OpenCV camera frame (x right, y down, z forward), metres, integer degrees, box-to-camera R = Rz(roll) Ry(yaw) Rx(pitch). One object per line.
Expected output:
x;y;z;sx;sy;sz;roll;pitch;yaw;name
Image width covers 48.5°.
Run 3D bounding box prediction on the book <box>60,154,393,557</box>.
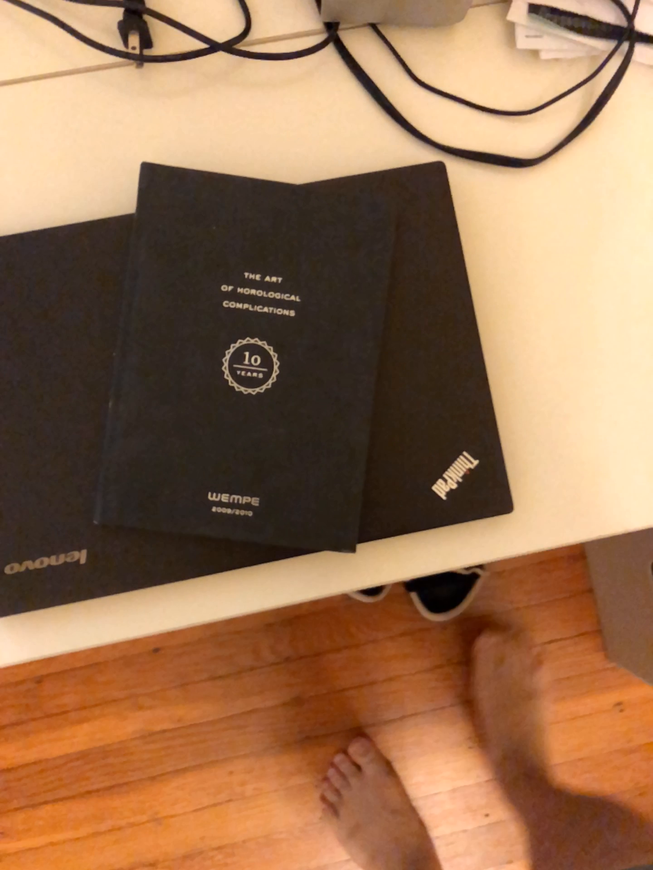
-0.057;-0.047;0.442;0.170;0.030;0.220;7;87;-3;book
